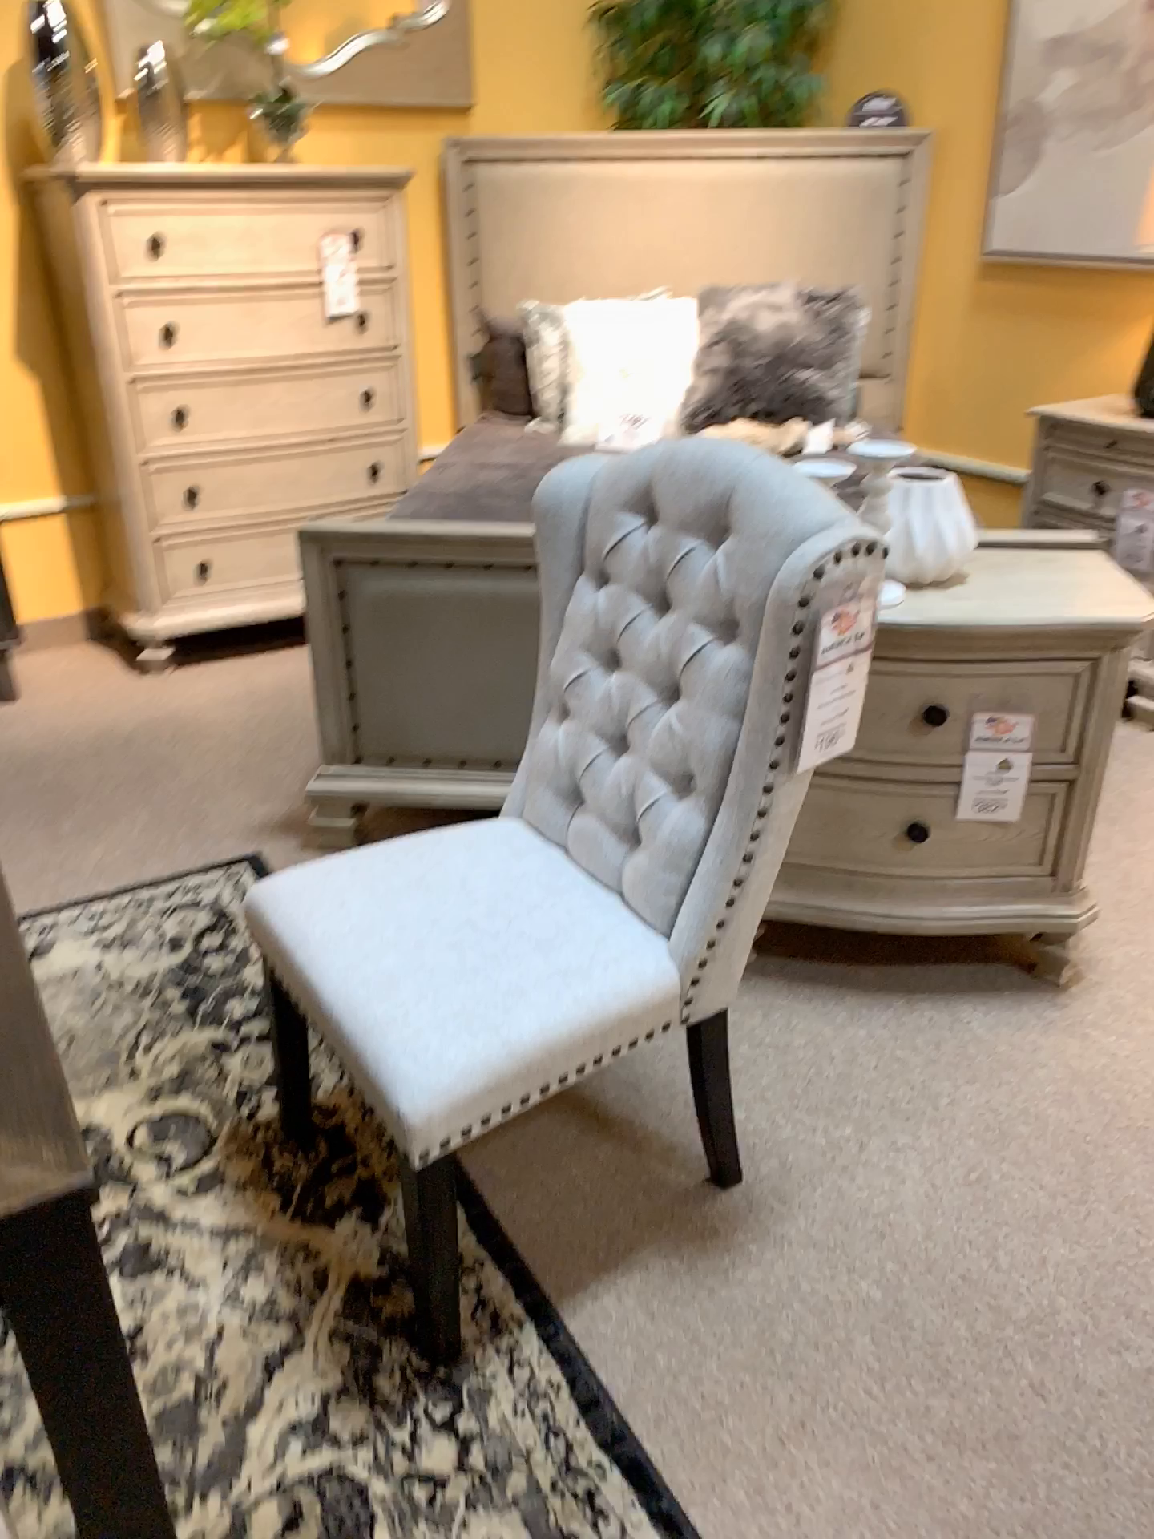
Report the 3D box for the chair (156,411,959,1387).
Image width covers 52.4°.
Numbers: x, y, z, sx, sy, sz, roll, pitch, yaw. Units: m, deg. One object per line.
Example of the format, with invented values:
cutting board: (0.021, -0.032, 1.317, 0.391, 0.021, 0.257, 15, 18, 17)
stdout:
chair: (-0.032, 0.098, 1.588, 0.742, 0.973, 0.589, -16, 30, -29)
